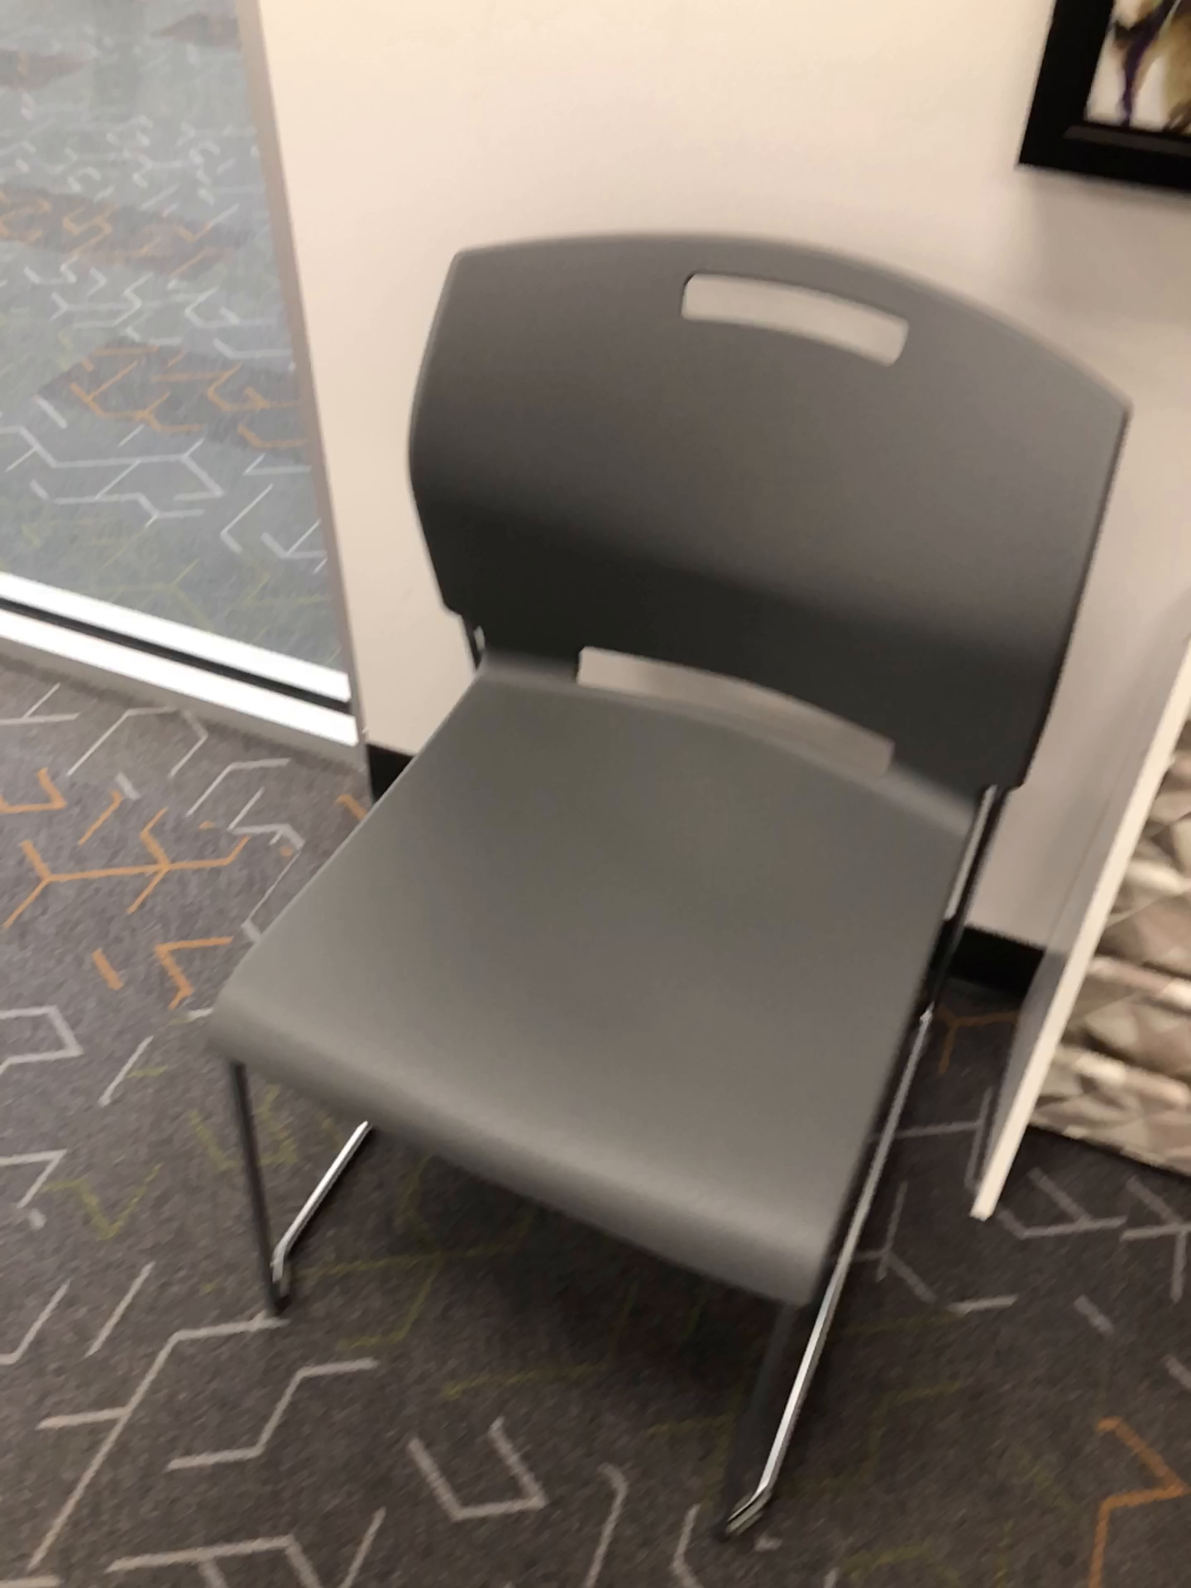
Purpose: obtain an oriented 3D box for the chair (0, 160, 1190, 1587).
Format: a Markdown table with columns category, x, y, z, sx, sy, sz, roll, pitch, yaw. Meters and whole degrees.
| category | x | y | z | sx | sy | sz | roll | pitch | yaw |
| --- | --- | --- | --- | --- | --- | --- | --- | --- | --- |
| chair | 0.026 | 0.054 | 1.014 | 0.581 | 0.735 | 0.674 | 18 | 48 | 16 |
